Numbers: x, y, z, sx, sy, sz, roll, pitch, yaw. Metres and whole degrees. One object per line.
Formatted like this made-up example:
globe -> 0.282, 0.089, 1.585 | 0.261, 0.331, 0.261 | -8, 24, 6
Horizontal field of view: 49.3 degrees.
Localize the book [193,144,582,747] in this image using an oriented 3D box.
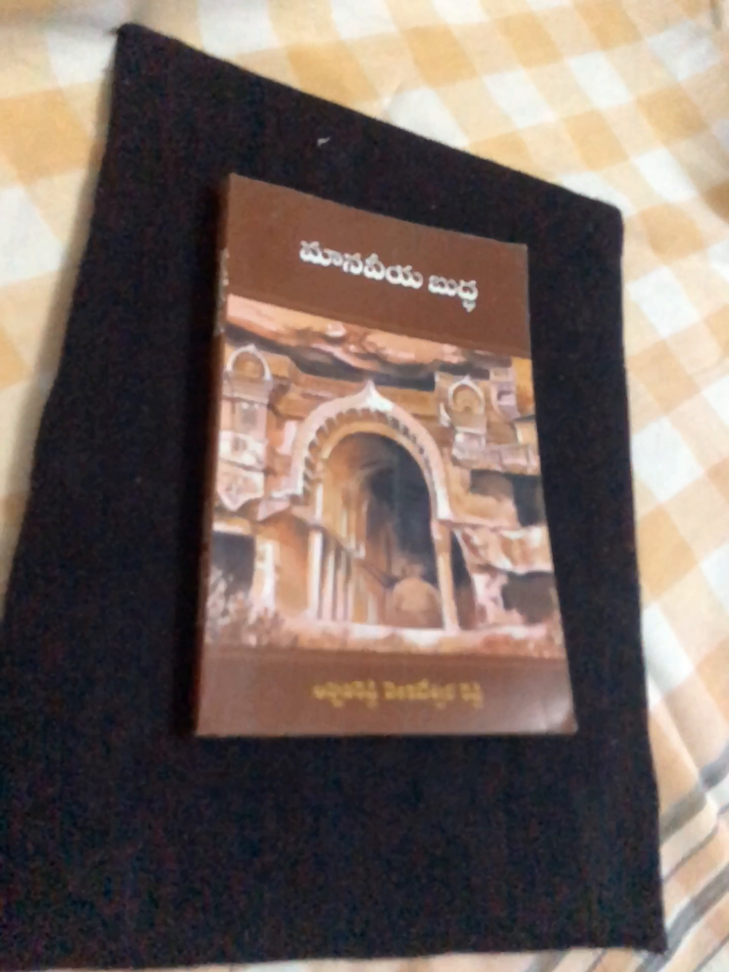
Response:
book -> 0.011, -0.018, 0.316 | 0.141, 0.020, 0.230 | 6, 70, -21
